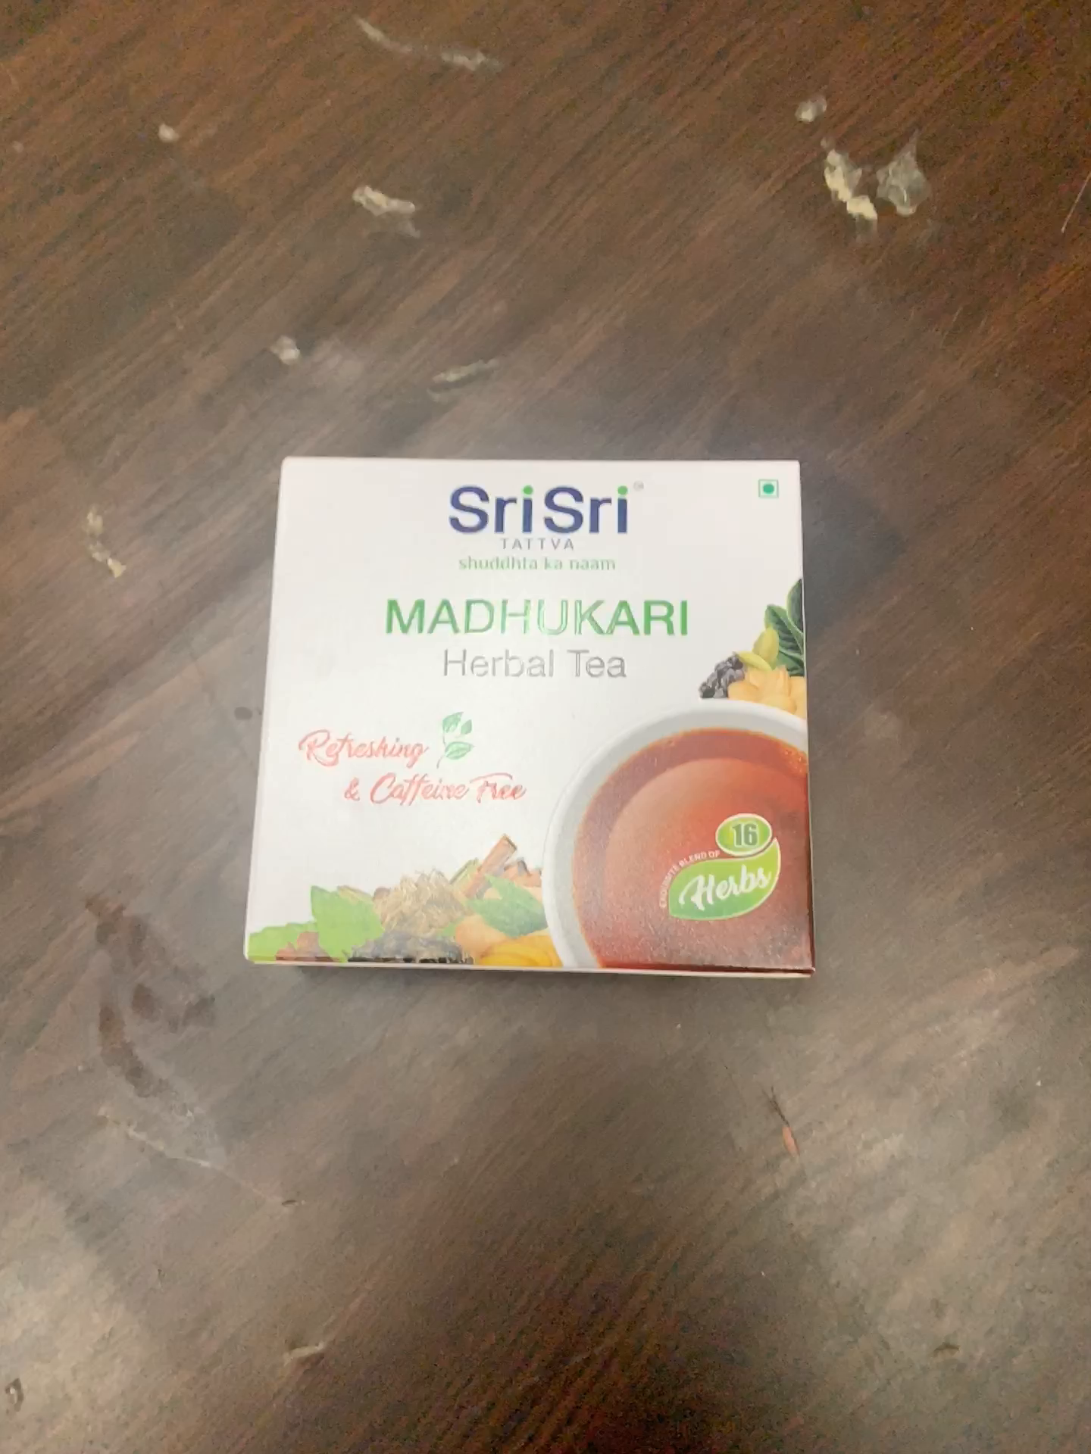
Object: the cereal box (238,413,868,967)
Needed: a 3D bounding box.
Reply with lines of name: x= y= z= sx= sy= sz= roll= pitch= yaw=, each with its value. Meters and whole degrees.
cereal box: x=0.003 y=-0.008 z=0.263 sx=0.130 sy=0.040 sz=0.120 roll=1 pitch=79 yaw=4
